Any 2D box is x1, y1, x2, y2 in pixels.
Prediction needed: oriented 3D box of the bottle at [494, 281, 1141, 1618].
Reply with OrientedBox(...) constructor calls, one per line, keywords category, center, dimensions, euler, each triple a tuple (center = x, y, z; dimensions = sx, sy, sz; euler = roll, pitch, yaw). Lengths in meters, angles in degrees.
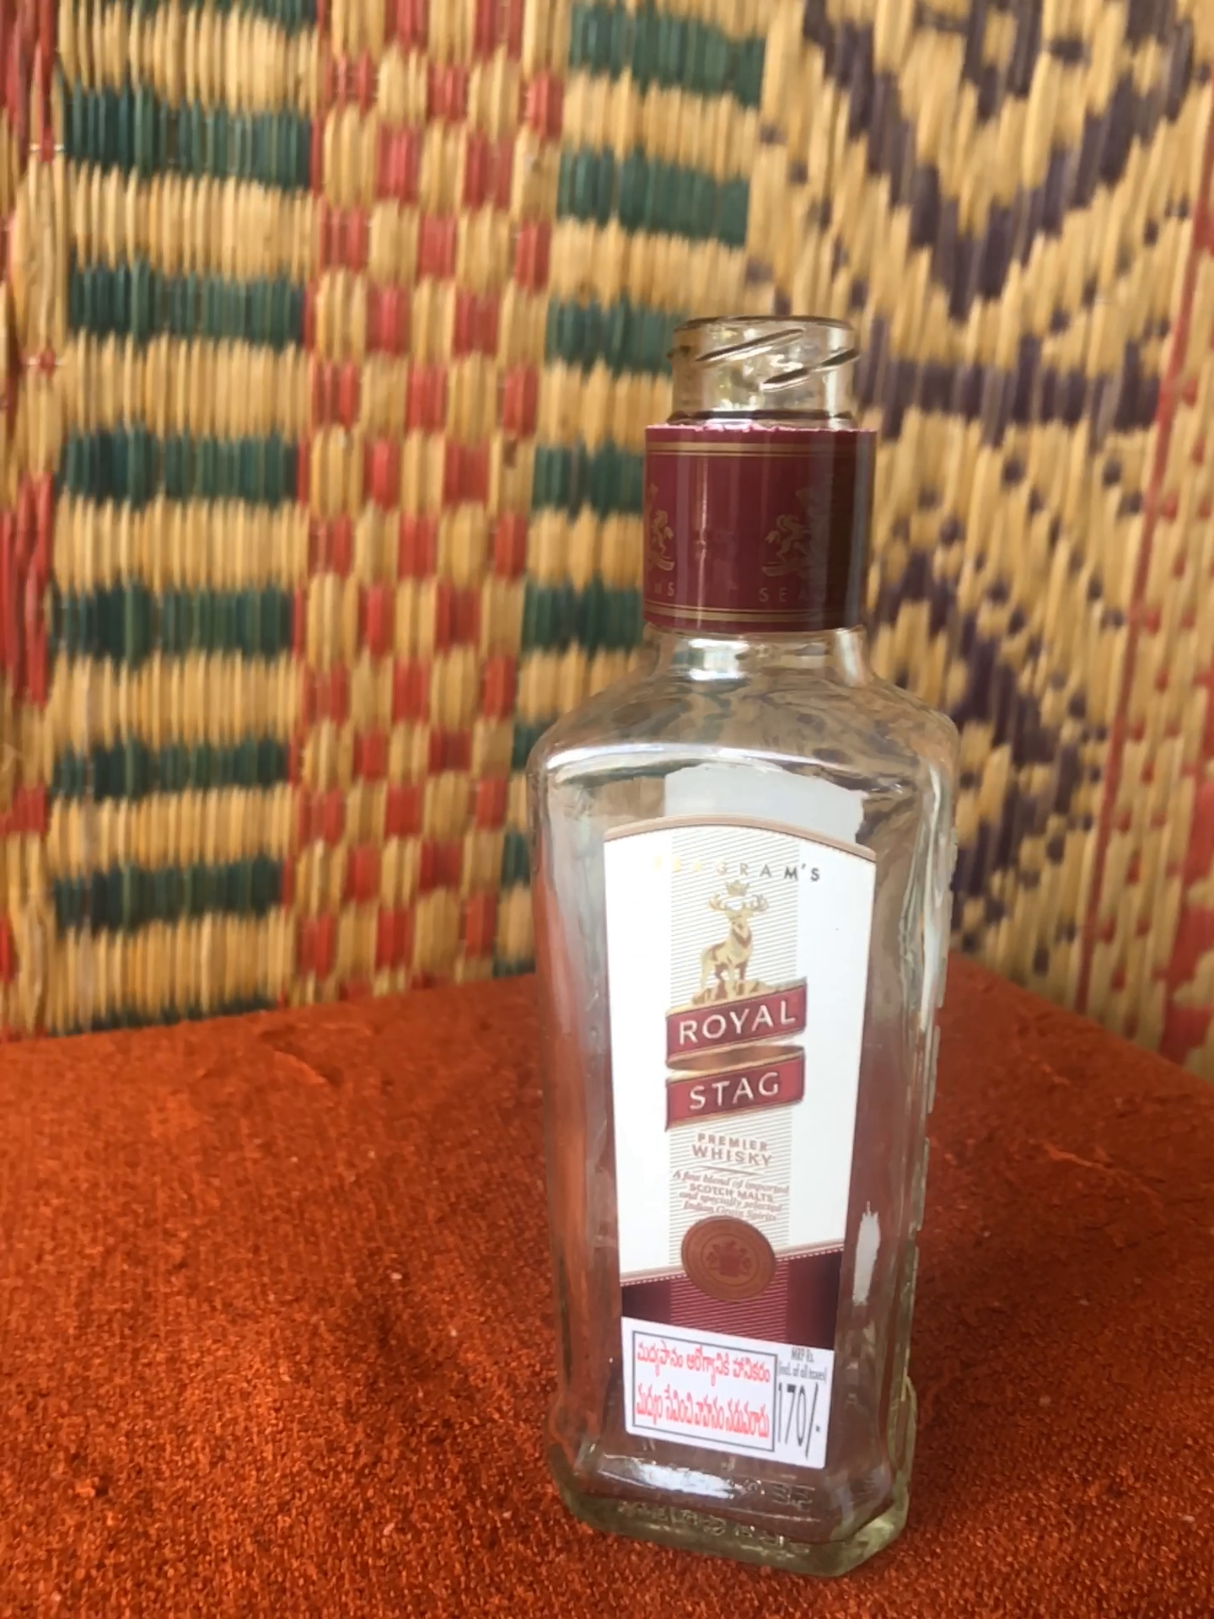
OrientedBox(category="bottle", center=(0.025, 0.016, 0.185), dimensions=(0.060, 0.159, 0.060), euler=(2, 18, -1))
